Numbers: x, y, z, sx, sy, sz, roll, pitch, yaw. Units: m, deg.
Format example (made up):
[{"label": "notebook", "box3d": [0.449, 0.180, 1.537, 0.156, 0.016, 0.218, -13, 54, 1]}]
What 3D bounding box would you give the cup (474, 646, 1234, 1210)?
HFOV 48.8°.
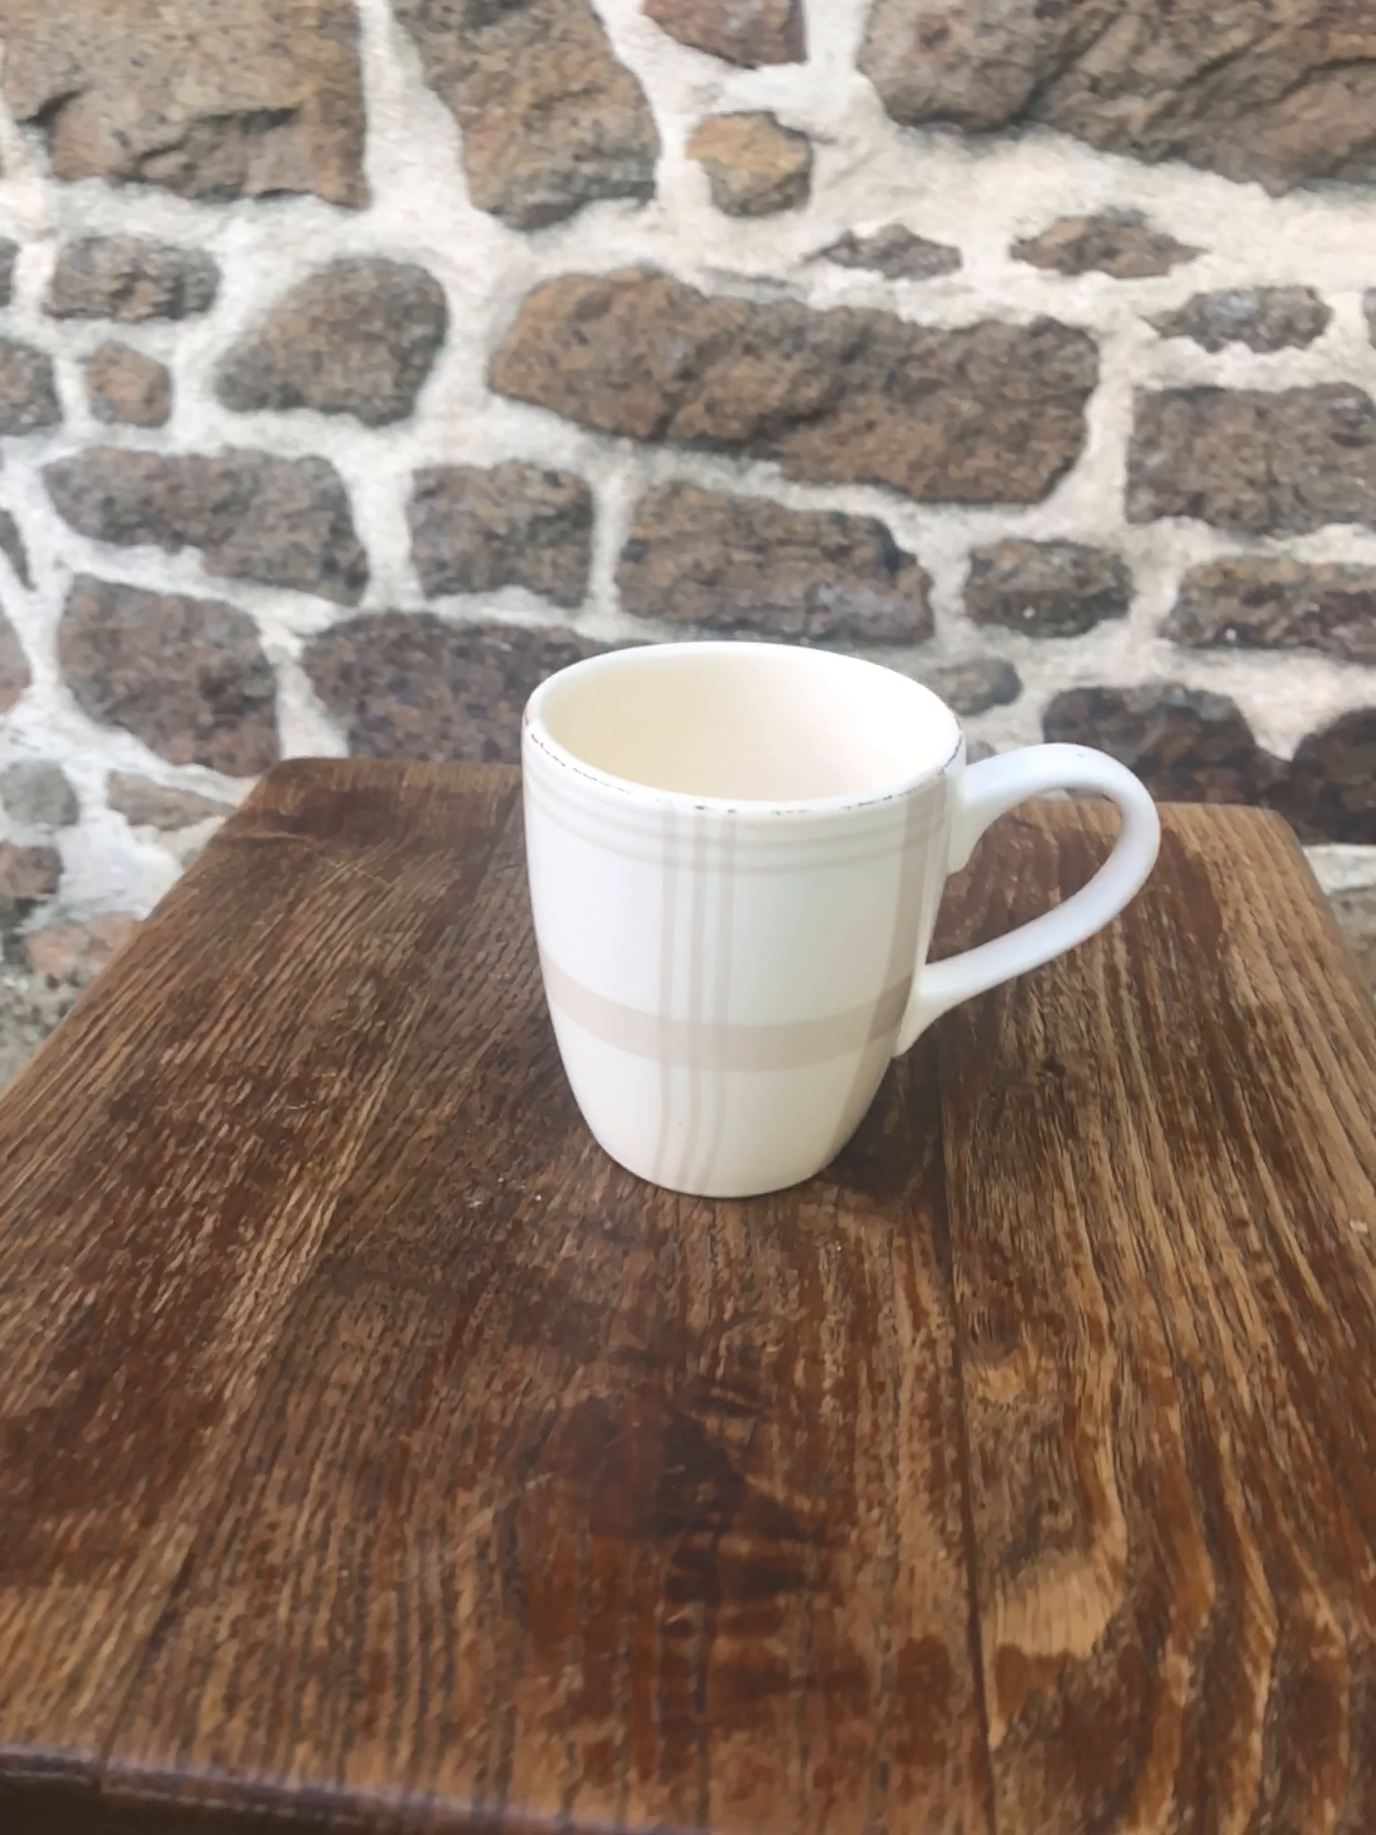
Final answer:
[{"label": "cup", "box3d": [0.027, -0.002, 0.306, 0.124, 0.078, 0.088, 1, 29, 0]}]
